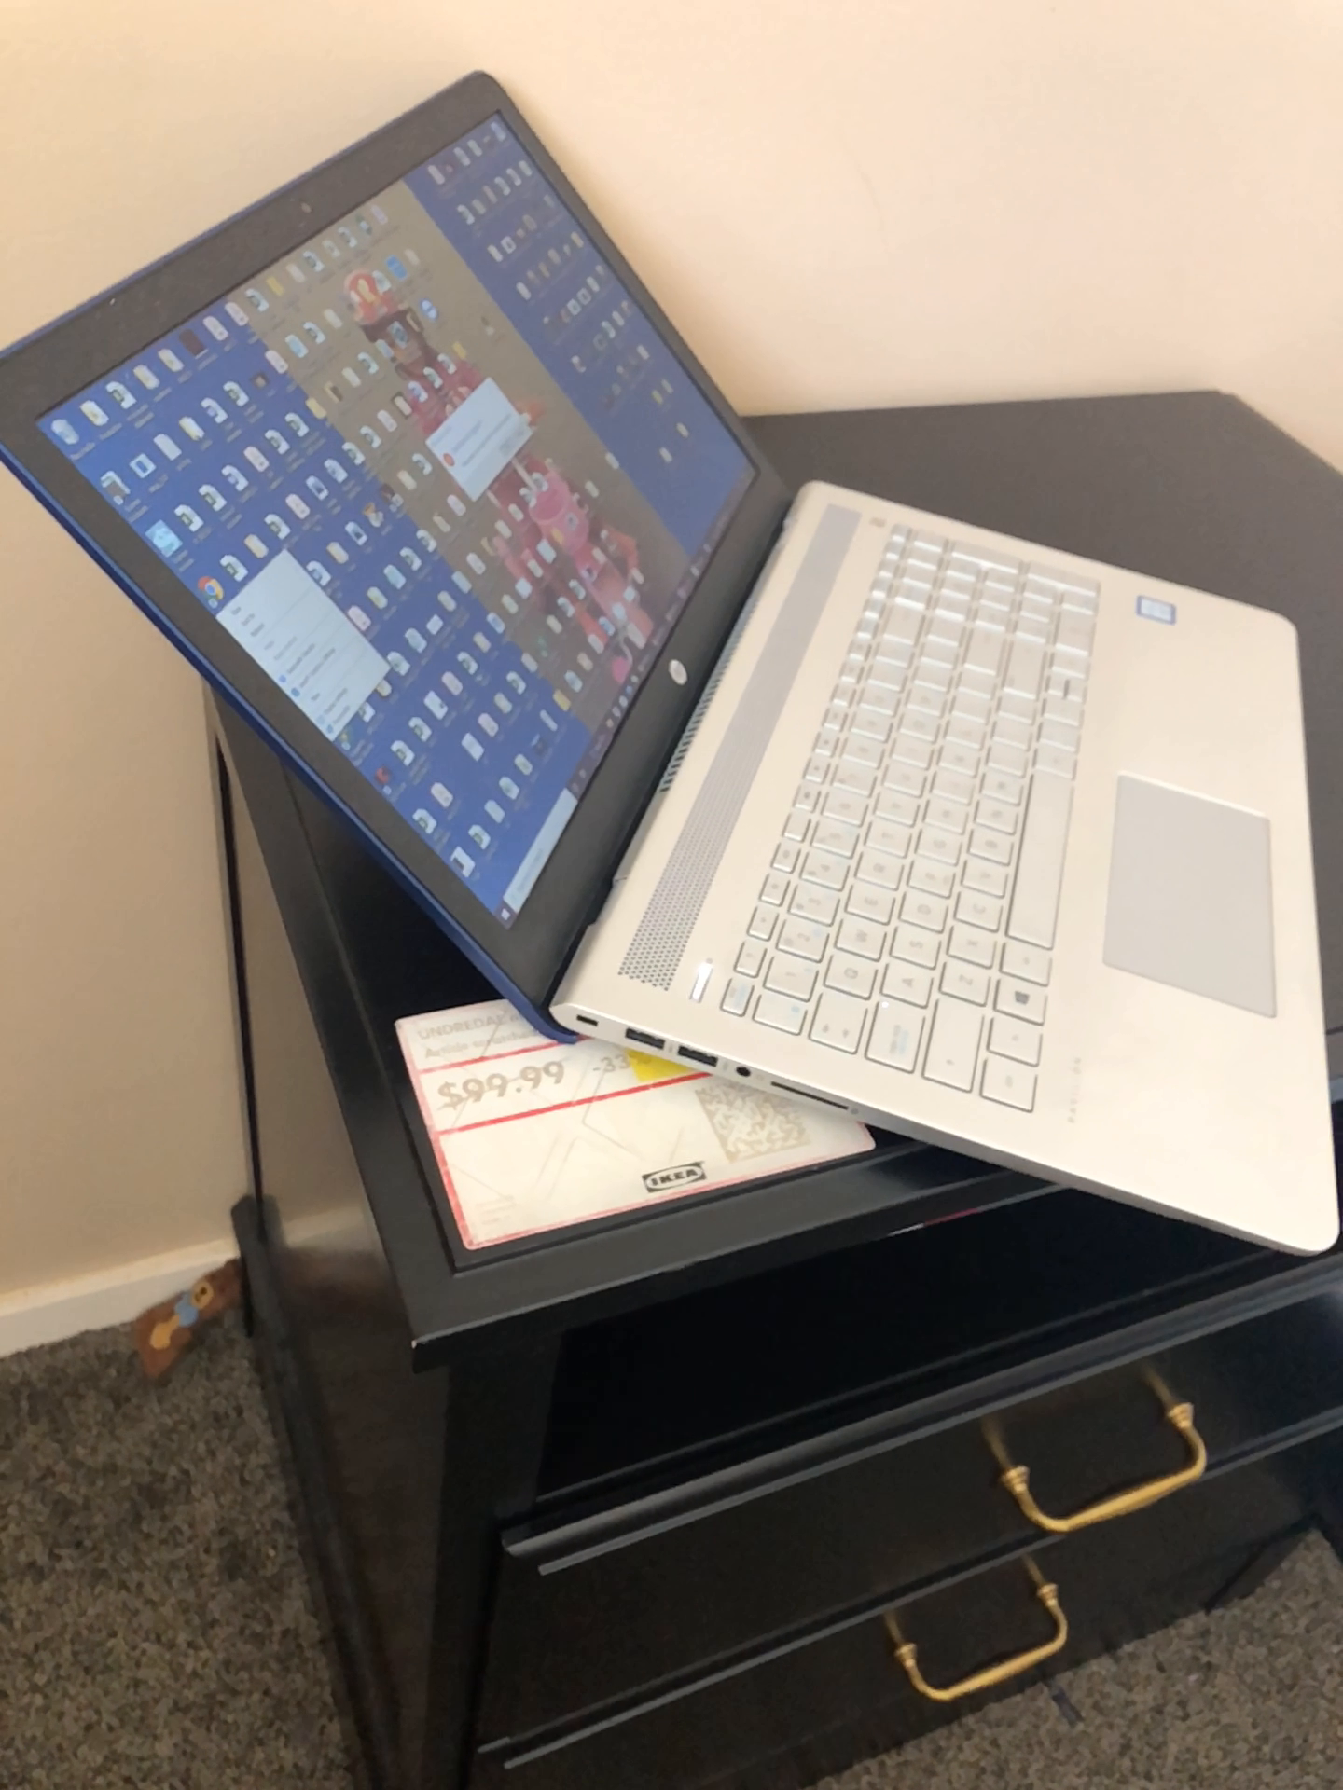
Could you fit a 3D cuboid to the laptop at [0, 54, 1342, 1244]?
[{"bbox_3d":[0.052,-0.129,0.524,0.400,0.141,0.368,18,42,5],"label":"laptop"}]
